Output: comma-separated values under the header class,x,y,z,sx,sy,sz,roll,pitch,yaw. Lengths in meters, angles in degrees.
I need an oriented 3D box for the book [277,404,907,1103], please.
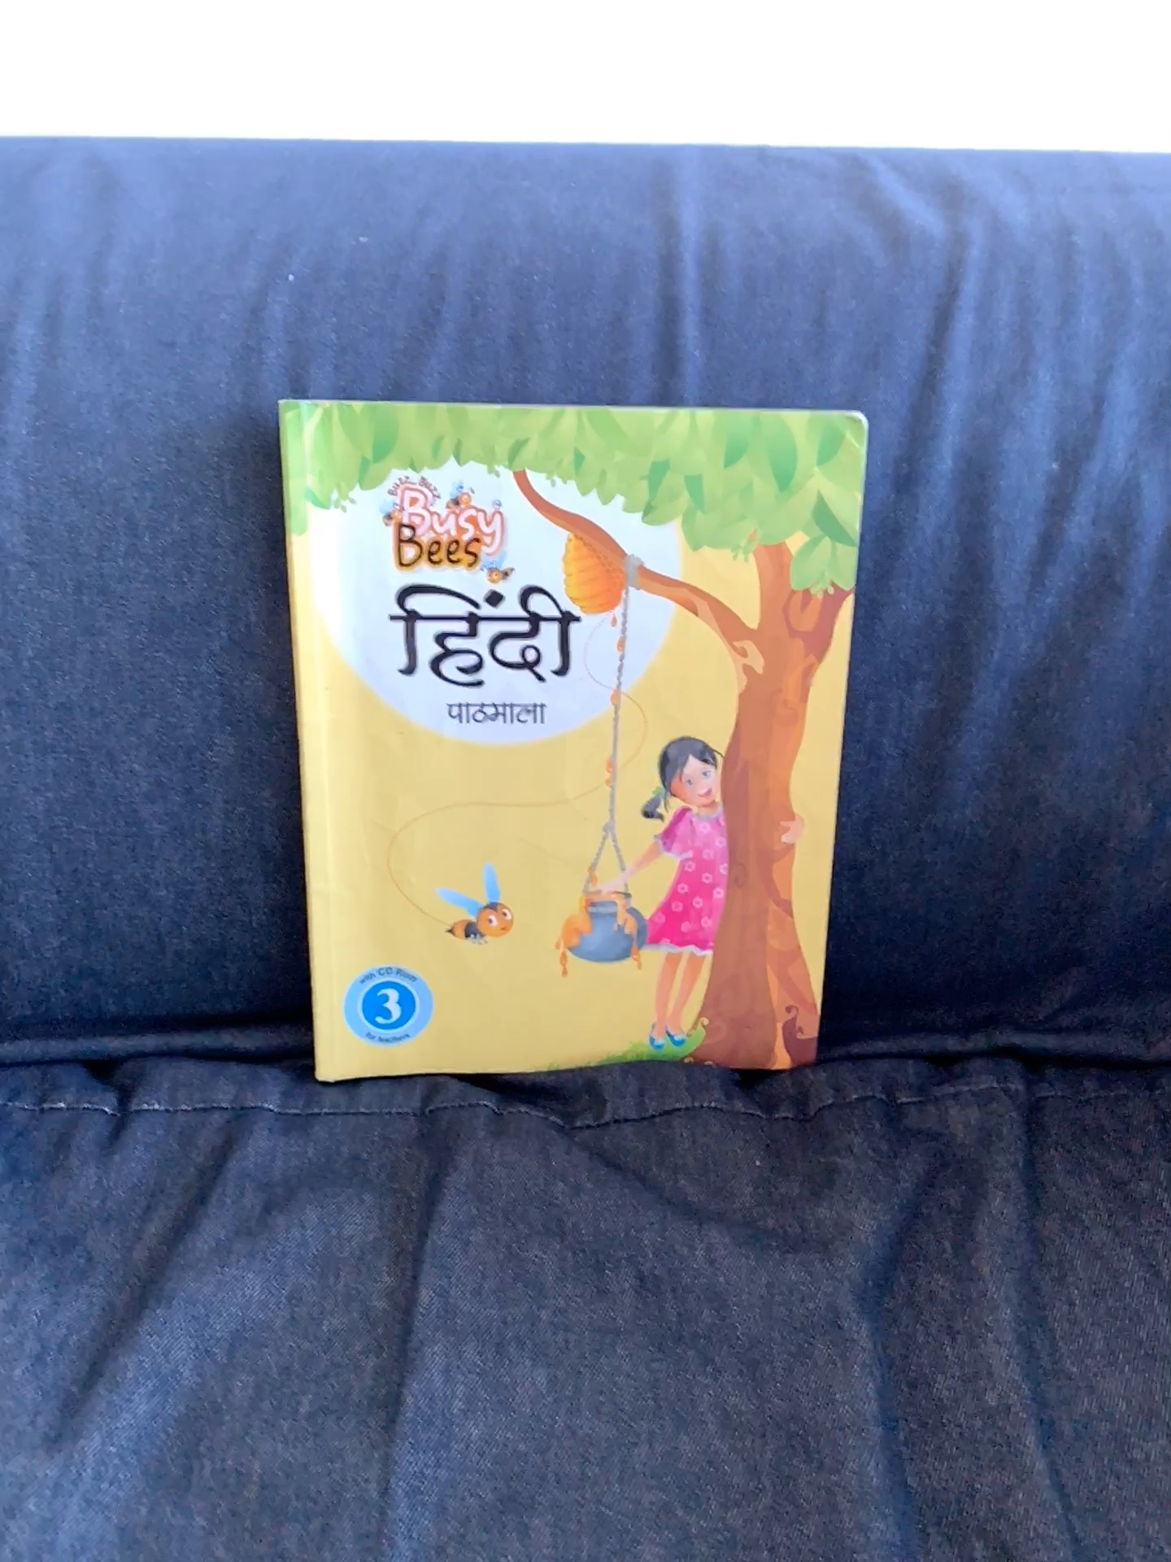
class,x,y,z,sx,sy,sz,roll,pitch,yaw
book,0.001,-0.003,0.492,0.230,0.284,0.029,0,16,-2
